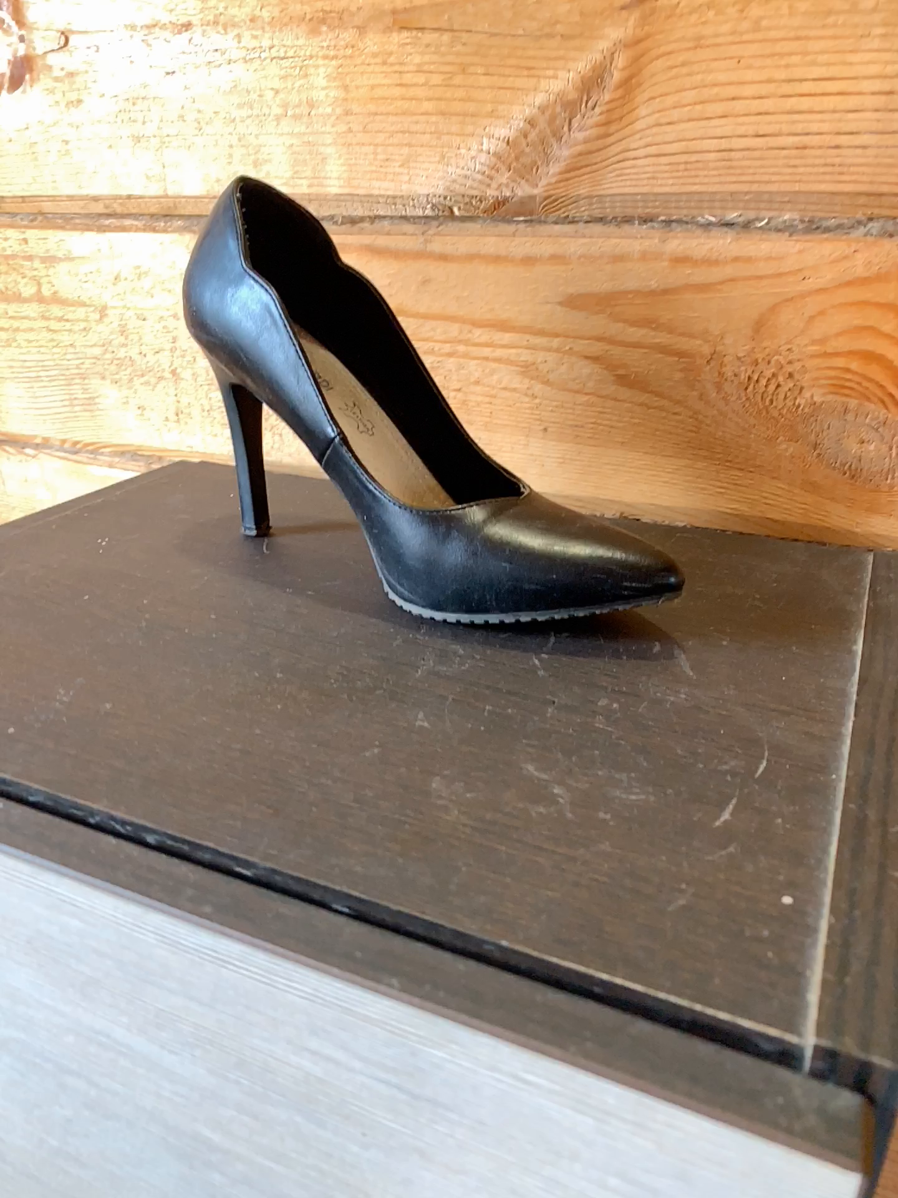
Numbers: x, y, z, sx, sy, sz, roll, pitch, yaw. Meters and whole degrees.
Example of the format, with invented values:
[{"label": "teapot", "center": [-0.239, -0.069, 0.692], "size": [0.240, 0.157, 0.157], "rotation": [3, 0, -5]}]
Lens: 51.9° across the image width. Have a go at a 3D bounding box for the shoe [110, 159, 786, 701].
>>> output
[{"label": "shoe", "center": [-0.009, -0.079, 0.351], "size": [0.221, 0.149, 0.101], "rotation": [16, 27, 33]}]
